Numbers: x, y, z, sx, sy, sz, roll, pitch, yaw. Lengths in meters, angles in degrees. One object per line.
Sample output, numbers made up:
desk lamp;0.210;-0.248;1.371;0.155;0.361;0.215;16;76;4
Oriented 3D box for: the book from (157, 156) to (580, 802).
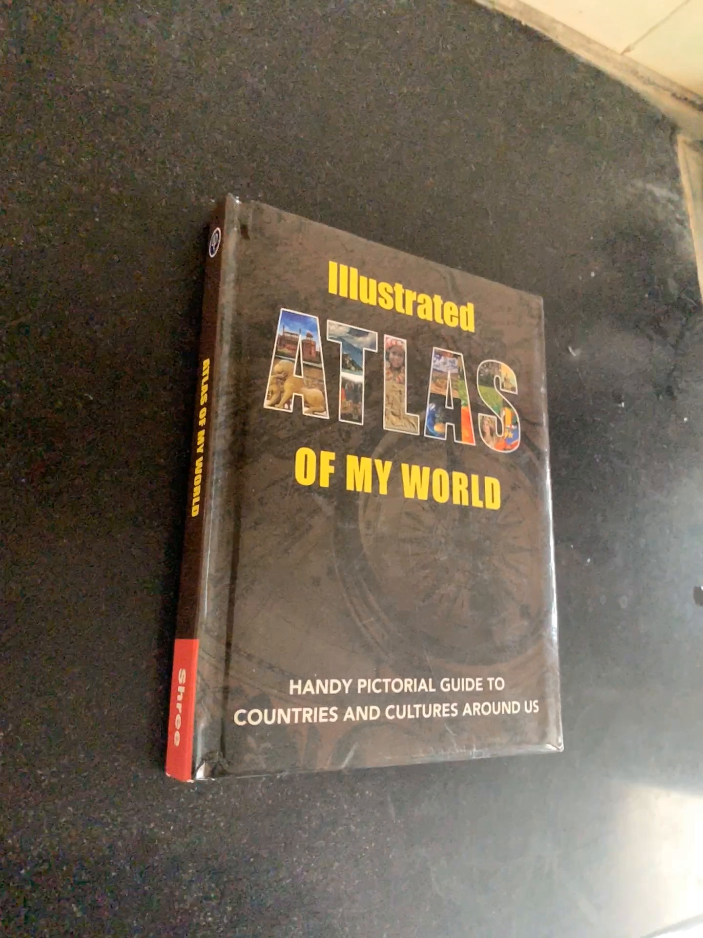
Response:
book;0.018;0.006;0.362;0.201;0.040;0.270;8;74;-29
